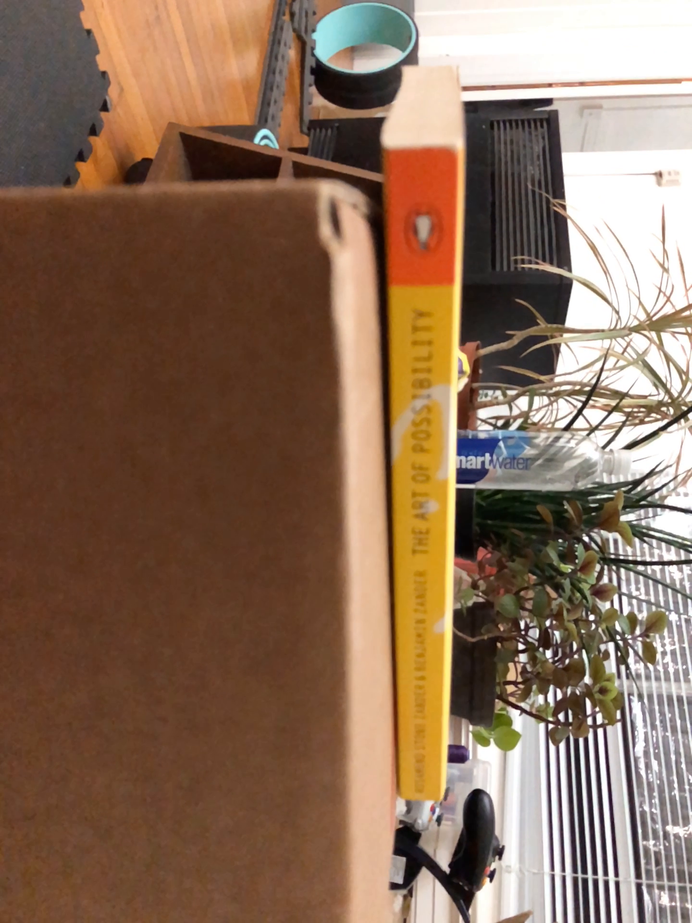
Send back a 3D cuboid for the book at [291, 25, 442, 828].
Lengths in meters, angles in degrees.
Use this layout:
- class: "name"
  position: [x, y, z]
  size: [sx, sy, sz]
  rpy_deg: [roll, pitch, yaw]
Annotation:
- class: "book"
  position: [0.018, -0.015, 0.246]
  size: [0.150, 0.020, 0.210]
  rpy_deg: [-76, 164, -56]
